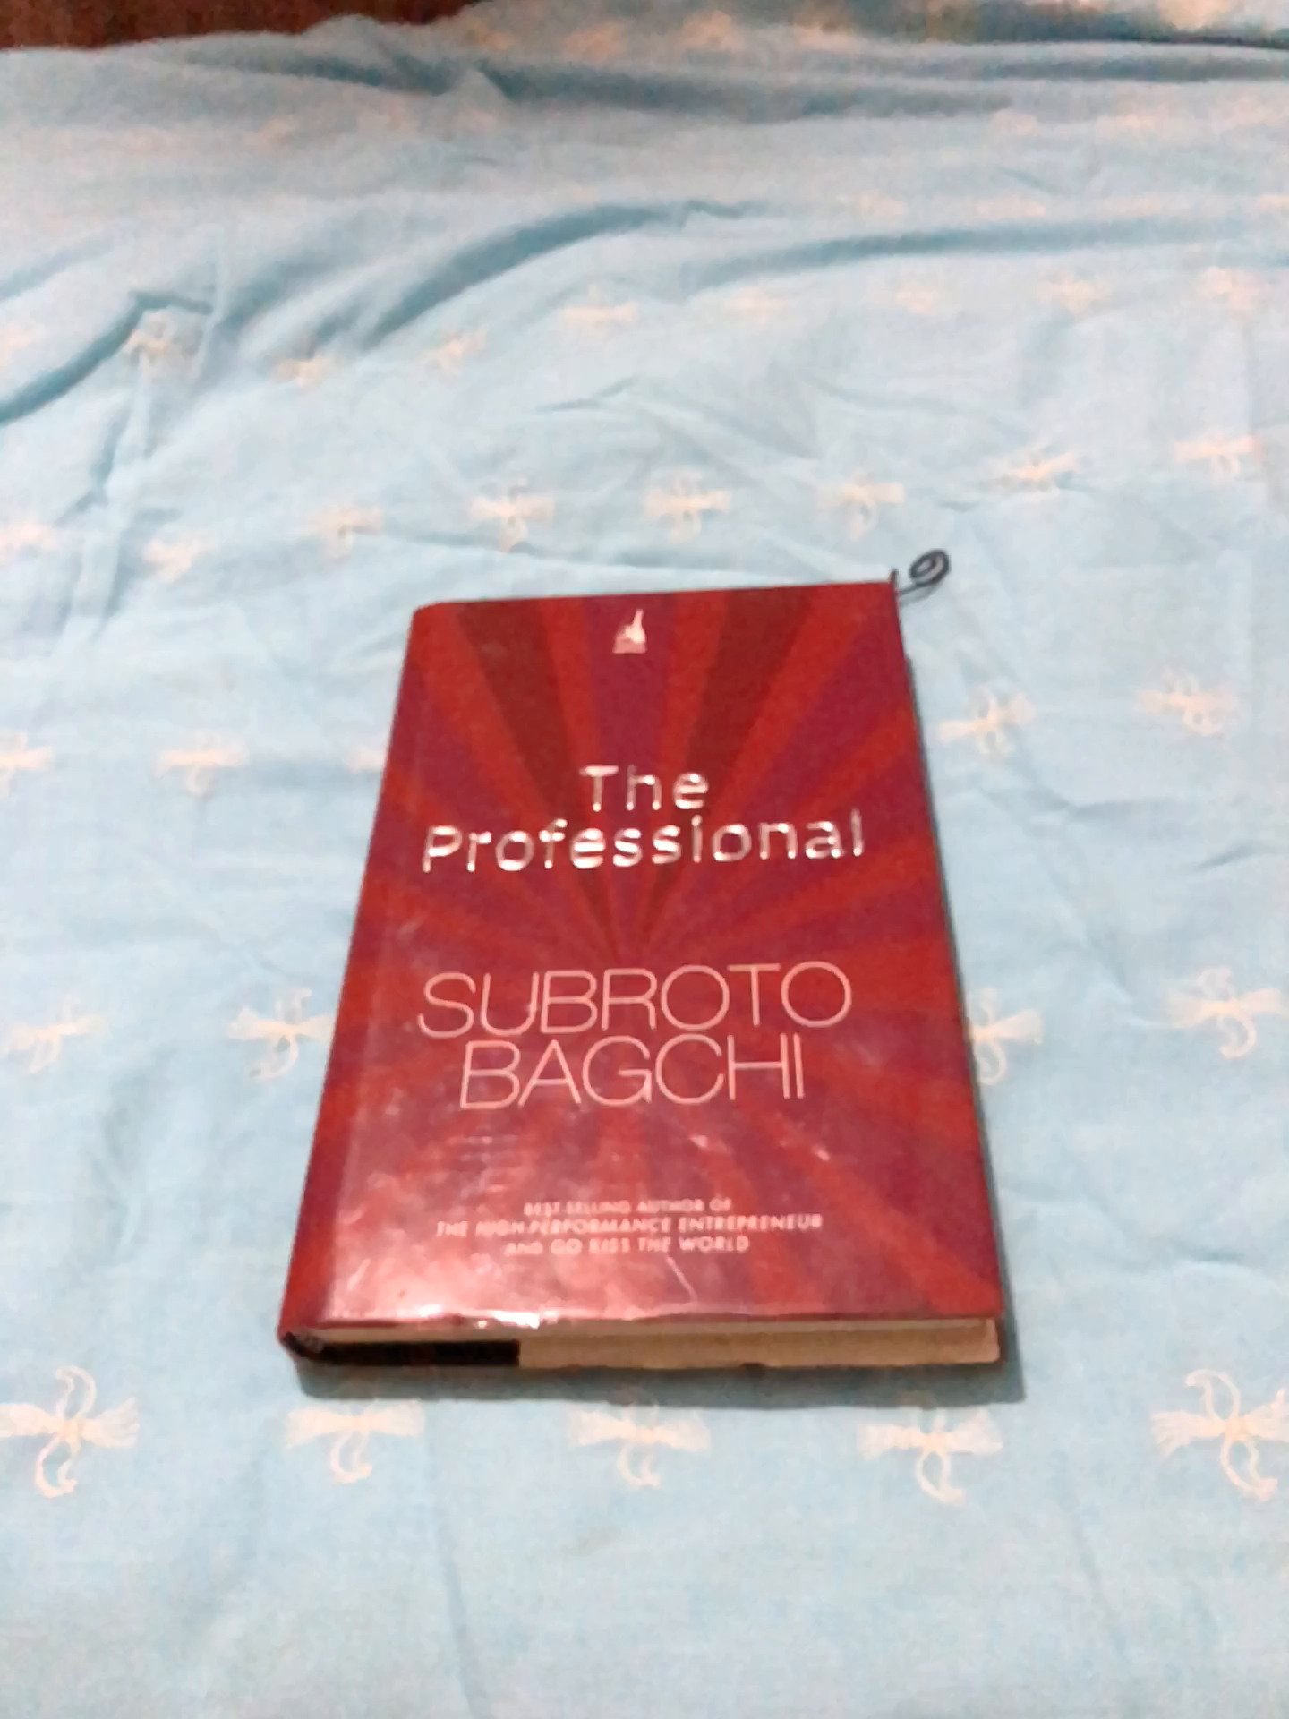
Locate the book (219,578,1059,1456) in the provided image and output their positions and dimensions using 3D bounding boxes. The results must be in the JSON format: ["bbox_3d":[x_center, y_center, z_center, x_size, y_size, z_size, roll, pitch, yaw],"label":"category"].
[{"bbox_3d":[0.003,0.019,0.340,0.150,0.030,0.221,0,50,4],"label":"book"}]
